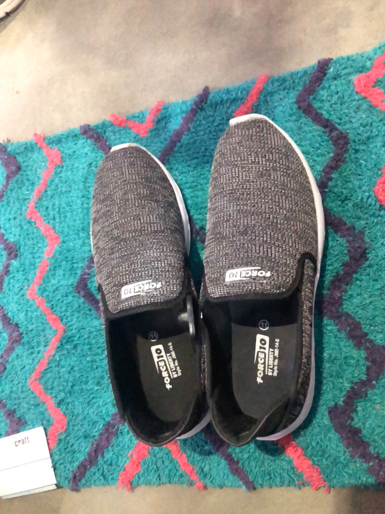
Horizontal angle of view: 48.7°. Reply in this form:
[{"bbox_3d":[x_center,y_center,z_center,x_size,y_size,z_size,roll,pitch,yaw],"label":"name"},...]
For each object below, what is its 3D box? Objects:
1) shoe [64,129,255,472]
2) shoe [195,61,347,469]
[{"bbox_3d":[-0.034,0.041,0.444,0.110,0.100,0.300,-16,79,16],"label":"shoe"},{"bbox_3d":[0.075,0.005,0.407,0.110,0.100,0.330,-4,82,18],"label":"shoe"}]
